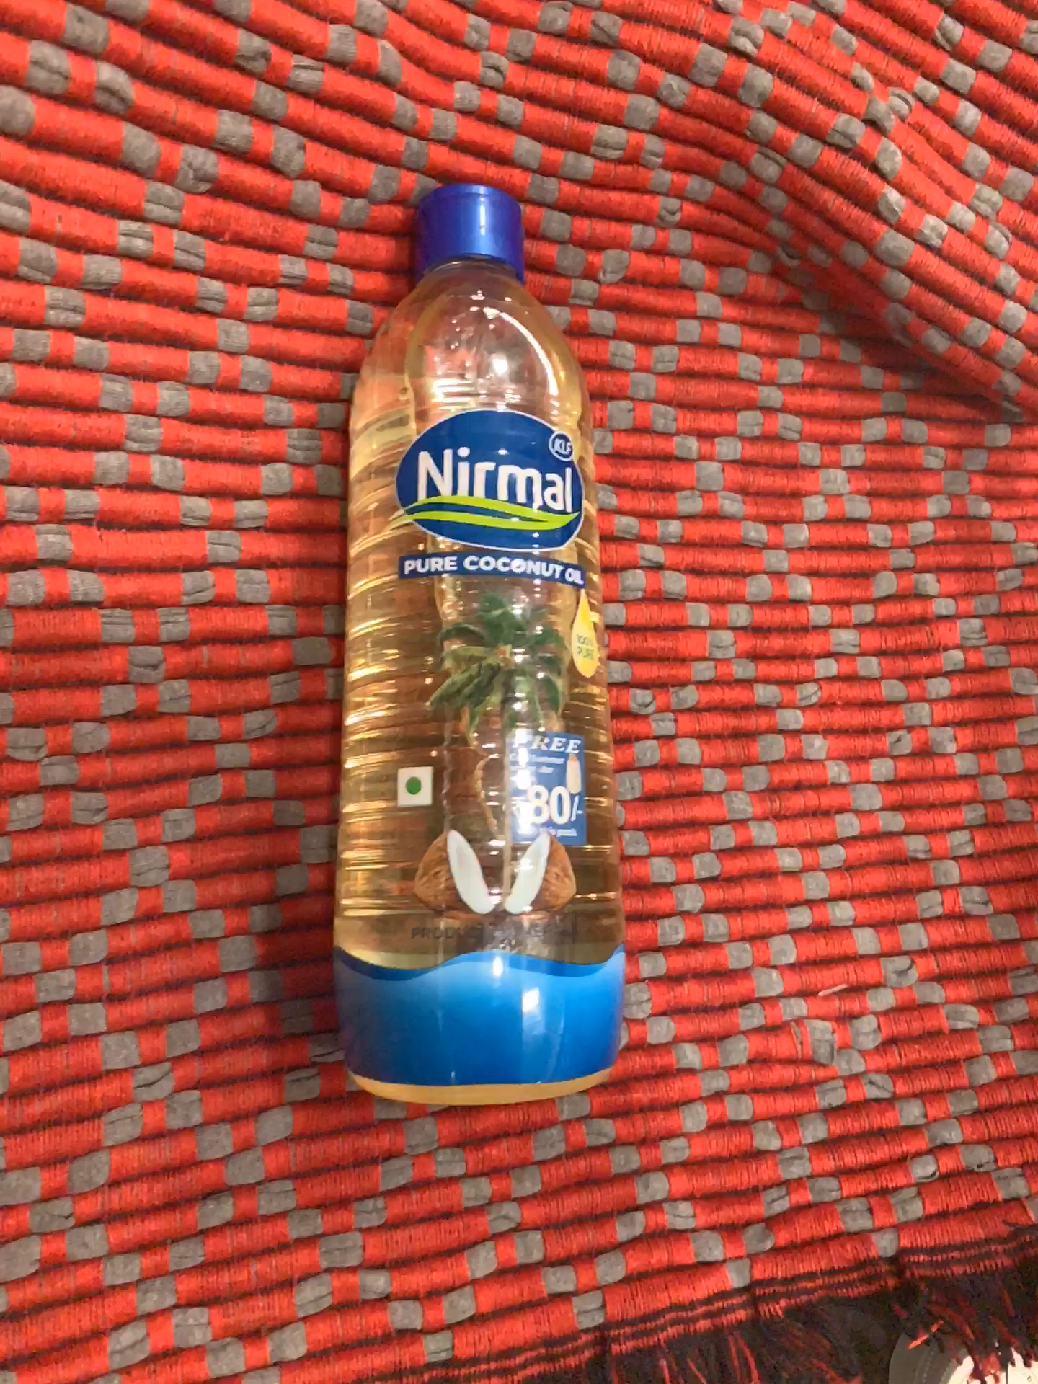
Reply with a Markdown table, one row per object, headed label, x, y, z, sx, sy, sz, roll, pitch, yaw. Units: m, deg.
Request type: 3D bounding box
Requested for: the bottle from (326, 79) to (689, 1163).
| label | x | y | z | sx | sy | sz | roll | pitch | yaw |
| --- | --- | --- | --- | --- | --- | --- | --- | --- | --- |
| bottle | -0.004 | -0.015 | 0.227 | 0.060 | 0.050 | 0.200 | 3 | 81 | -17 |
